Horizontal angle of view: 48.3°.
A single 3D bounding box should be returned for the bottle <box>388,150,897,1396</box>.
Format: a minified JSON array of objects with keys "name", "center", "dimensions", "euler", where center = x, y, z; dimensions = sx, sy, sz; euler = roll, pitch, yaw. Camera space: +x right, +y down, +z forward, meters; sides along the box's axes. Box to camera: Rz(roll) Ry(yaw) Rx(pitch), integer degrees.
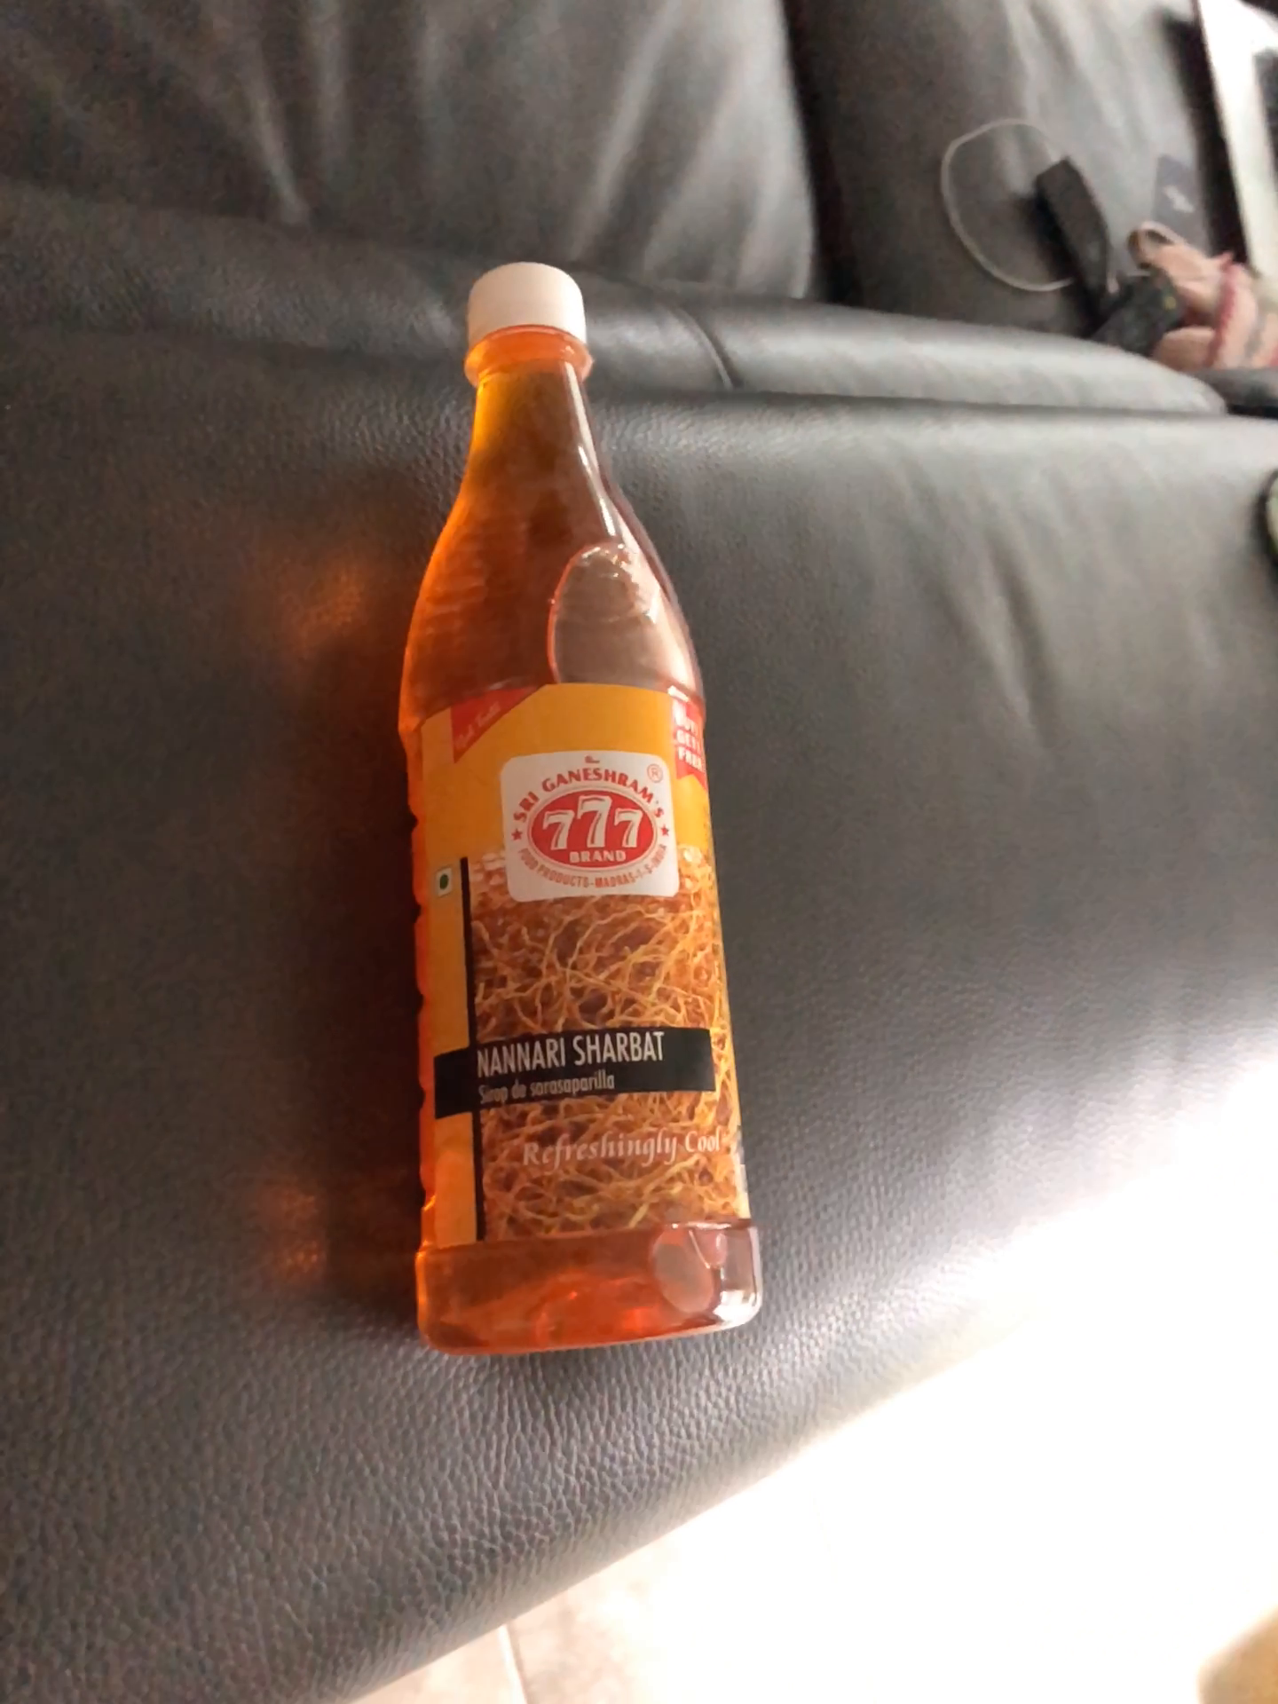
[{"name":"bottle","center":[-0.010,-0.023,0.344],"dimensions":[0.080,0.070,0.280],"euler":[1,72,-19]}]
